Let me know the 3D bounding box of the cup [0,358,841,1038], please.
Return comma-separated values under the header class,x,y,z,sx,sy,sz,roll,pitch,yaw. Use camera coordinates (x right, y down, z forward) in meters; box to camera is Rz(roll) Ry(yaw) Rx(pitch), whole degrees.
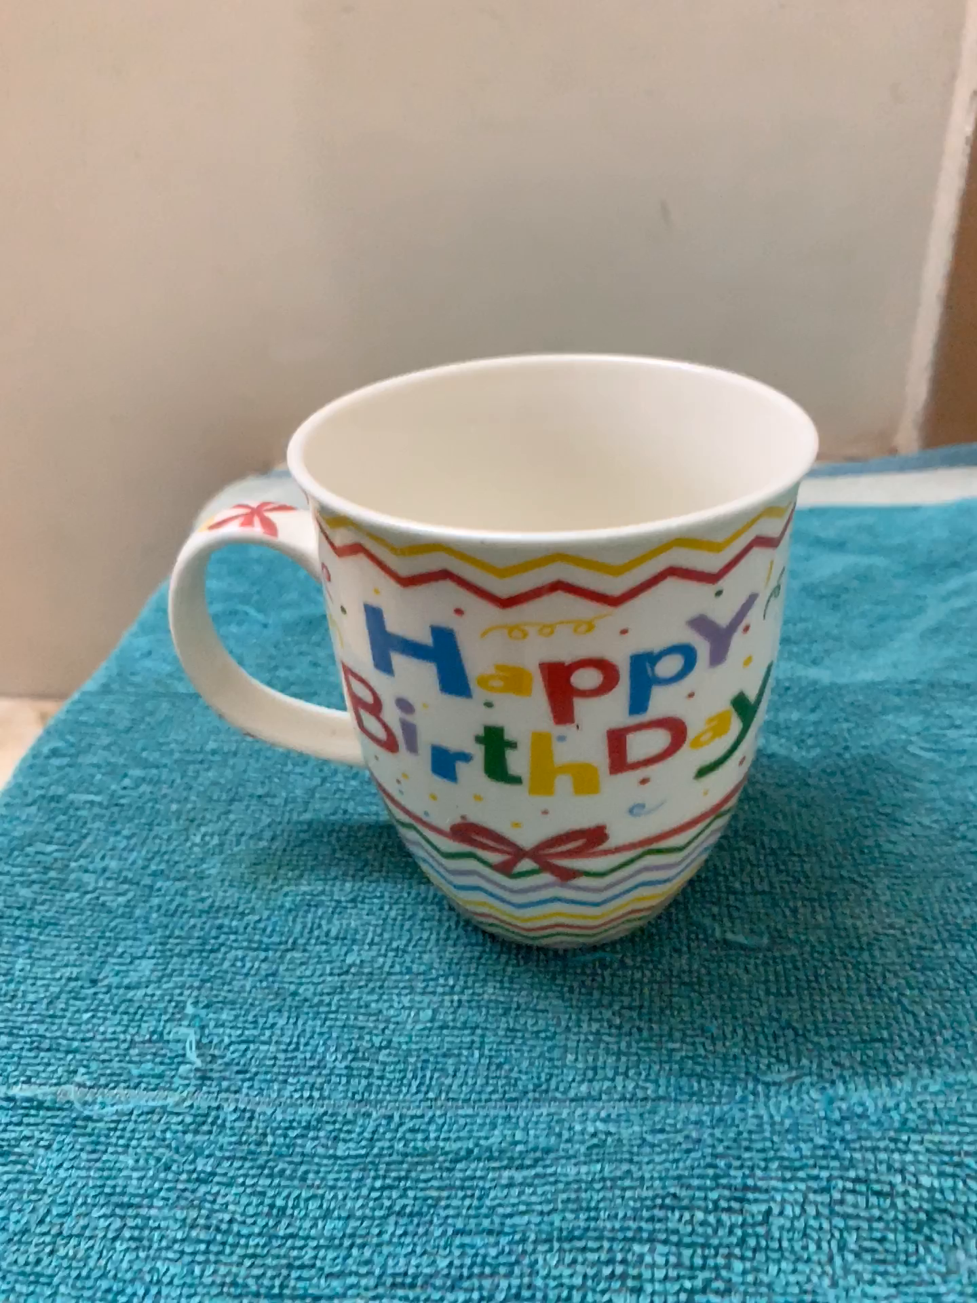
class,x,y,z,sx,sy,sz,roll,pitch,yaw
cup,-0.008,0.002,0.212,0.130,0.099,0.091,2,31,9
